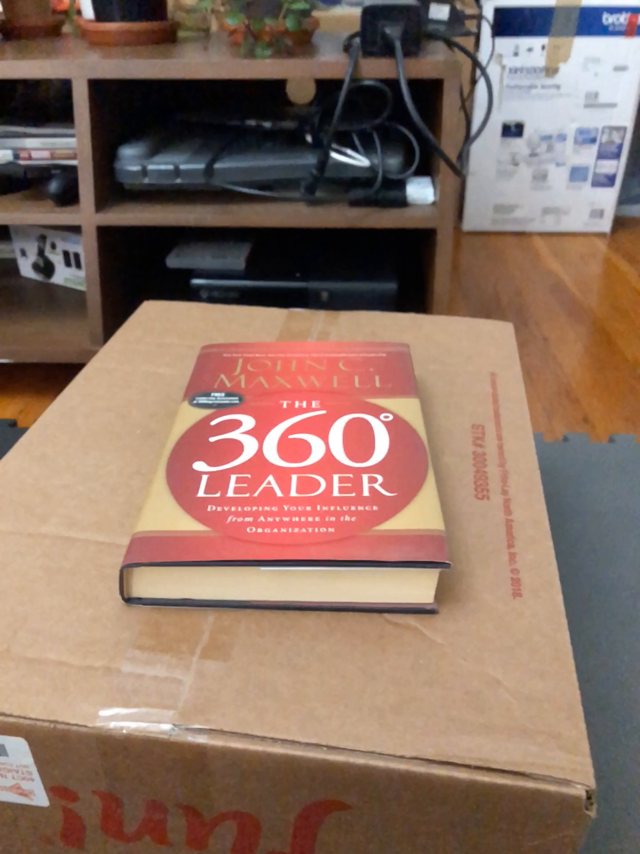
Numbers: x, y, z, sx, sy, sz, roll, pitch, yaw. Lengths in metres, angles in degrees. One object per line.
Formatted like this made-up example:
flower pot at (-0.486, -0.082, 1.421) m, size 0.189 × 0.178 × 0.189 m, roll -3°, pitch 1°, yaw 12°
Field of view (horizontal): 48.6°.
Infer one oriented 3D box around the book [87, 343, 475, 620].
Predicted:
book at (-0.013, 0.014, 0.437) m, size 0.180 × 0.030 × 0.241 m, roll 1°, pitch 32°, yaw 3°
